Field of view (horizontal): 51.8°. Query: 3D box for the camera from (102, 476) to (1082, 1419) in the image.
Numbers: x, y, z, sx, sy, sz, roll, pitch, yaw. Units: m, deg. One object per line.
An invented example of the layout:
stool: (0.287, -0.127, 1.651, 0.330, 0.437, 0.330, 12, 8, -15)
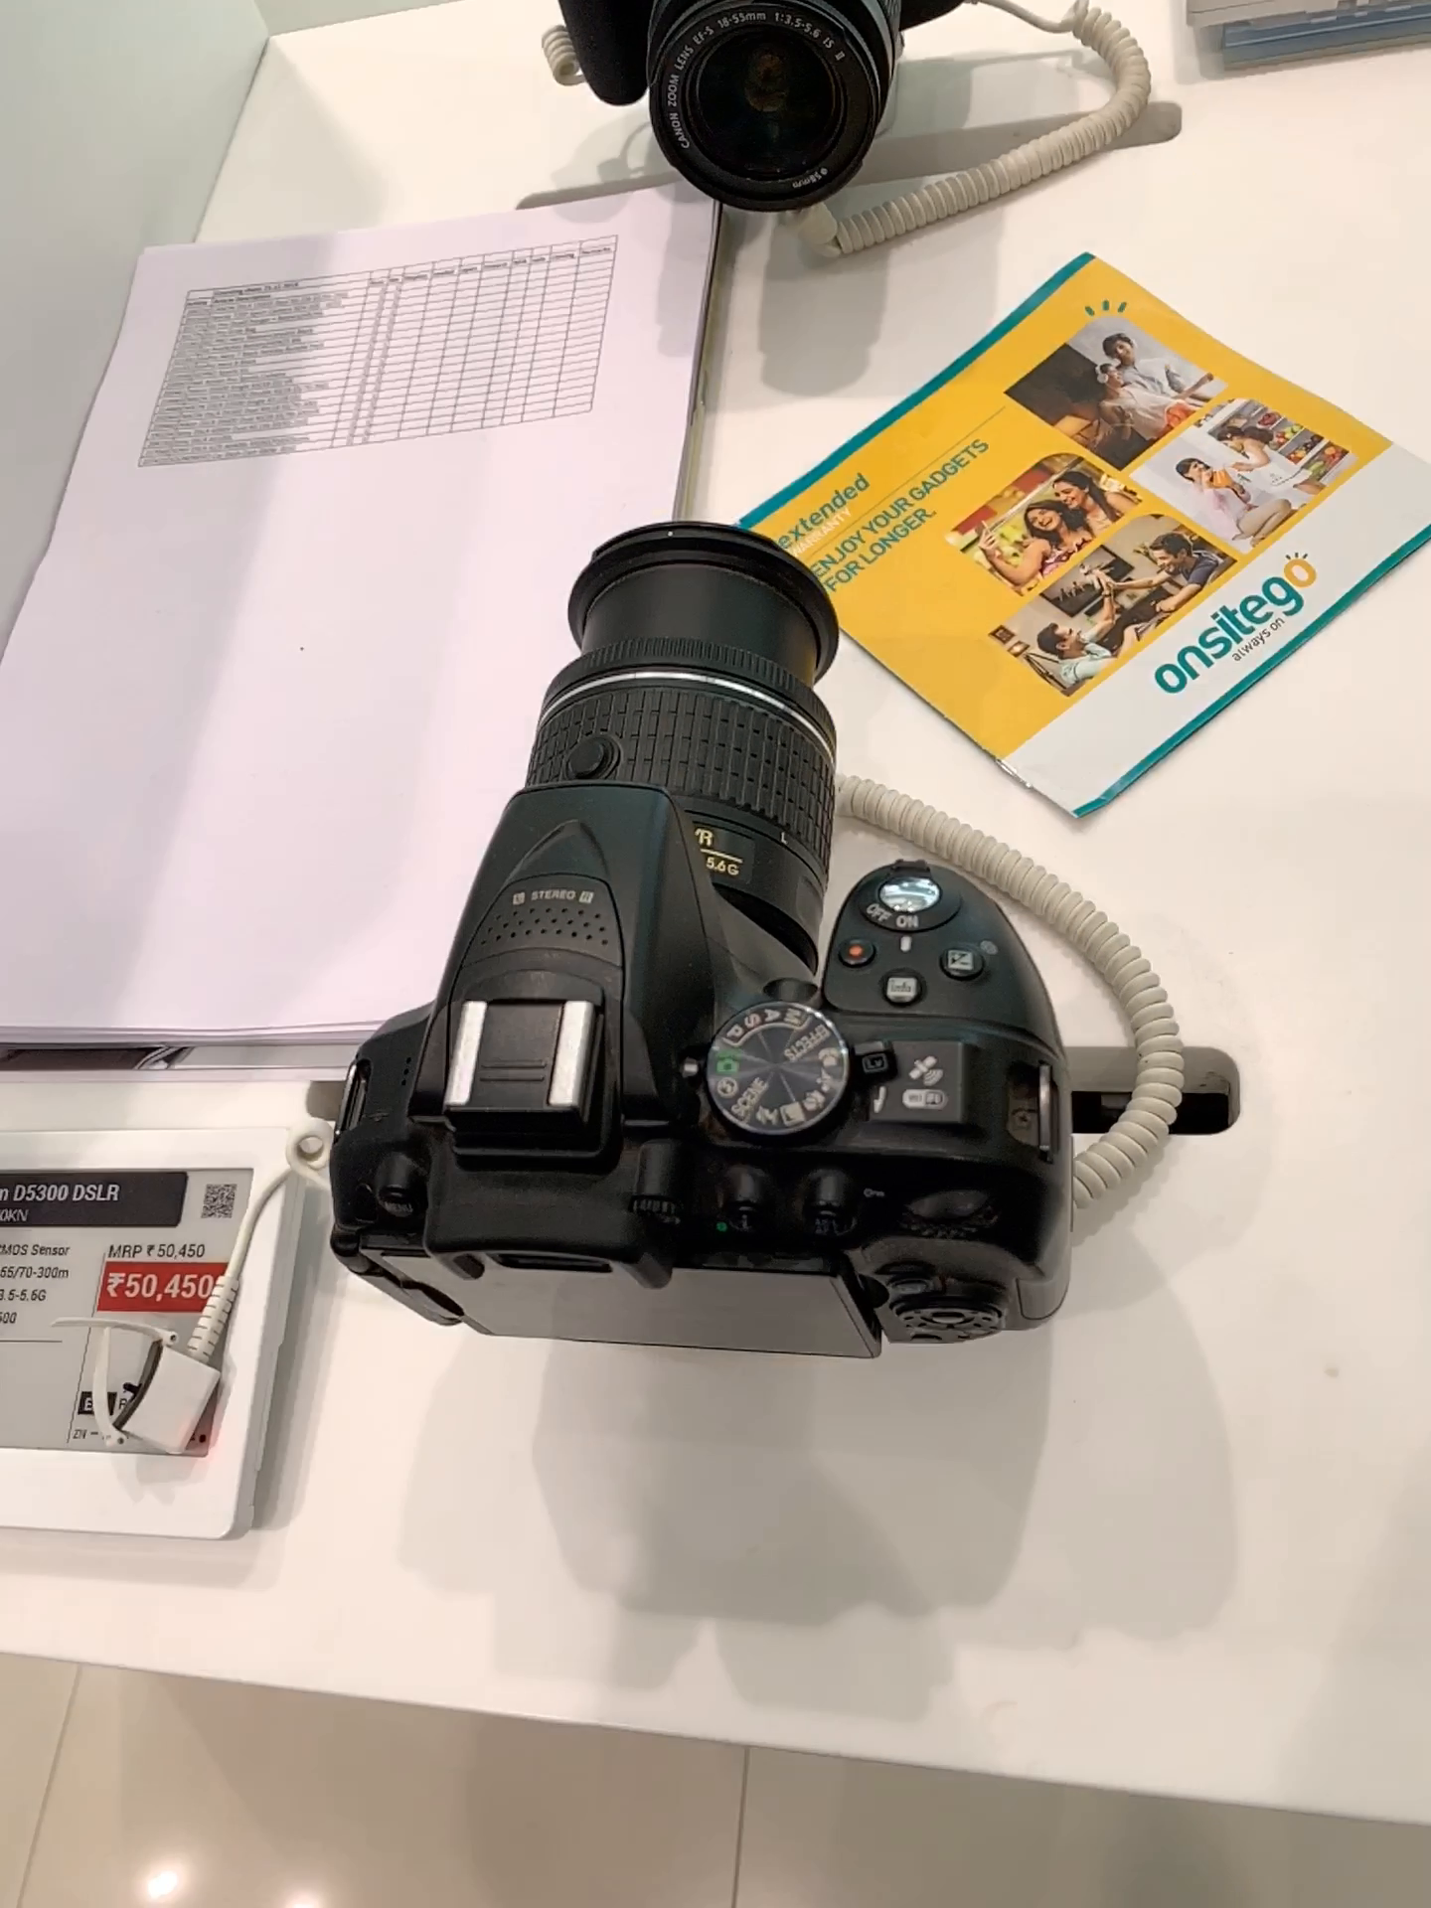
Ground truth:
camera: (-0.003, 0.005, 0.236, 0.118, 0.100, 0.107, 0, 62, 15)
